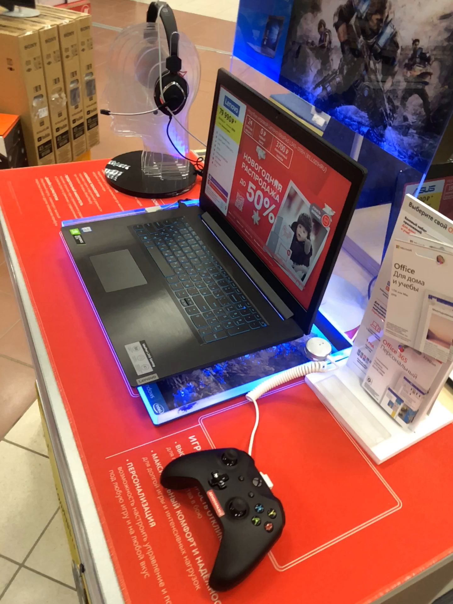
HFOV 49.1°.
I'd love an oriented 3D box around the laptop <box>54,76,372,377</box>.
[{"bbox_3d":[-0.062,-0.150,0.769,0.295,0.255,0.405,-14,42,-22],"label":"laptop"}]
